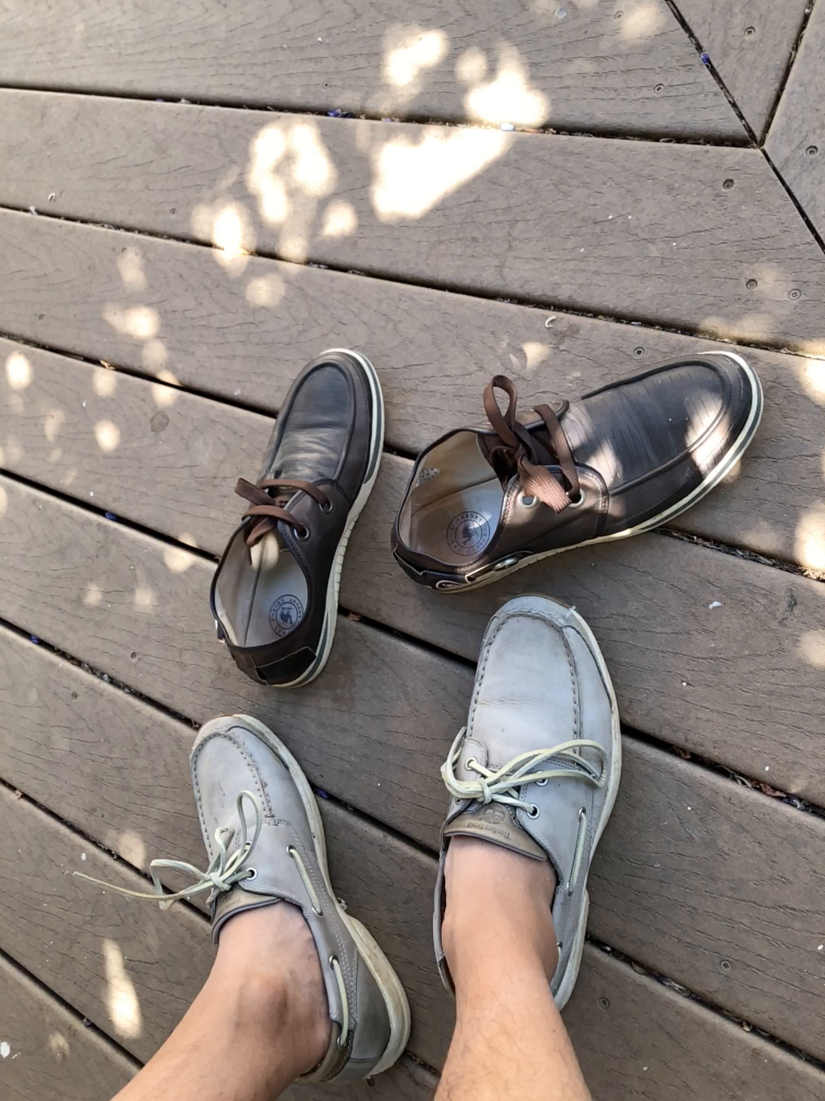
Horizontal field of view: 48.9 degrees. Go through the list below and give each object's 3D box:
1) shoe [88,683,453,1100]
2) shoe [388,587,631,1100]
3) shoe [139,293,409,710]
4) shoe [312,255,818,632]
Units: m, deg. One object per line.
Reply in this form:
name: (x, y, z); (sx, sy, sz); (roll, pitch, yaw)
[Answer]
shoe: (-0.113, 0.259, 0.689); (0.110, 0.111, 0.304); (-40, 67, 16)
shoe: (0.070, 0.182, 0.606); (0.110, 0.111, 0.303); (1, 82, 27)
shoe: (-0.106, -0.037, 0.725); (0.110, 0.111, 0.303); (10, 87, 28)
shoe: (0.098, -0.055, 0.621); (0.304, 0.111, 0.110); (-26, 71, 22)
